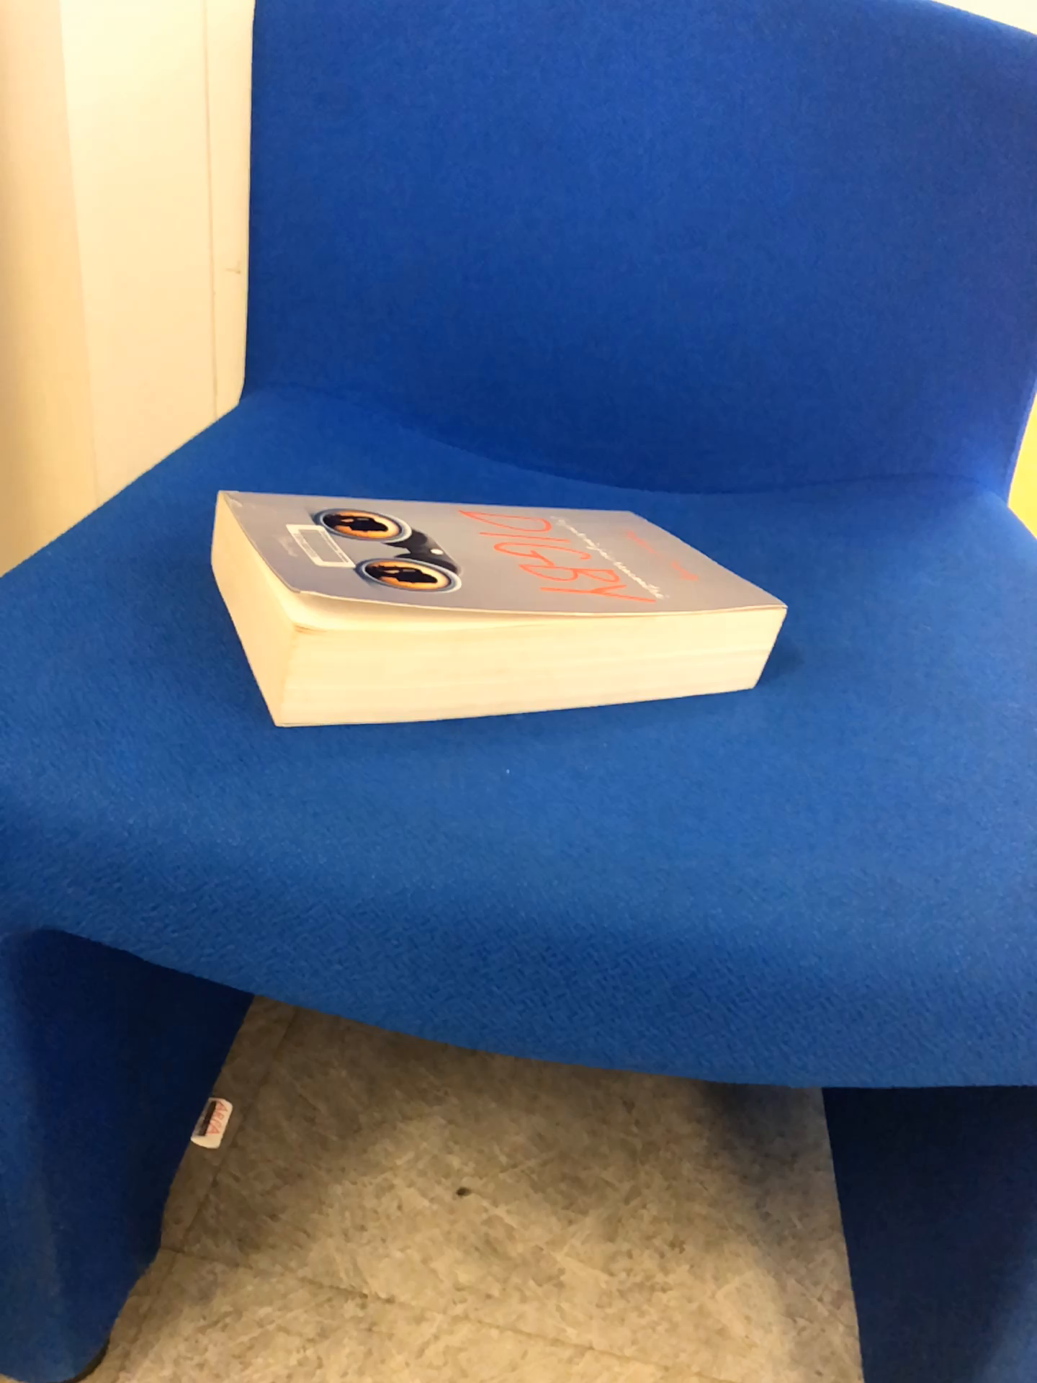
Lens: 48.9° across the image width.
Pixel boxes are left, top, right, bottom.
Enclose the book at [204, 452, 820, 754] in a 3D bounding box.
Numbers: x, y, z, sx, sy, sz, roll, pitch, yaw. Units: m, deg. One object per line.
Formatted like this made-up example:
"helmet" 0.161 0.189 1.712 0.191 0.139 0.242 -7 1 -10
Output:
"book" -0.010 -0.042 0.478 0.211 0.056 0.151 -1 29 -25
